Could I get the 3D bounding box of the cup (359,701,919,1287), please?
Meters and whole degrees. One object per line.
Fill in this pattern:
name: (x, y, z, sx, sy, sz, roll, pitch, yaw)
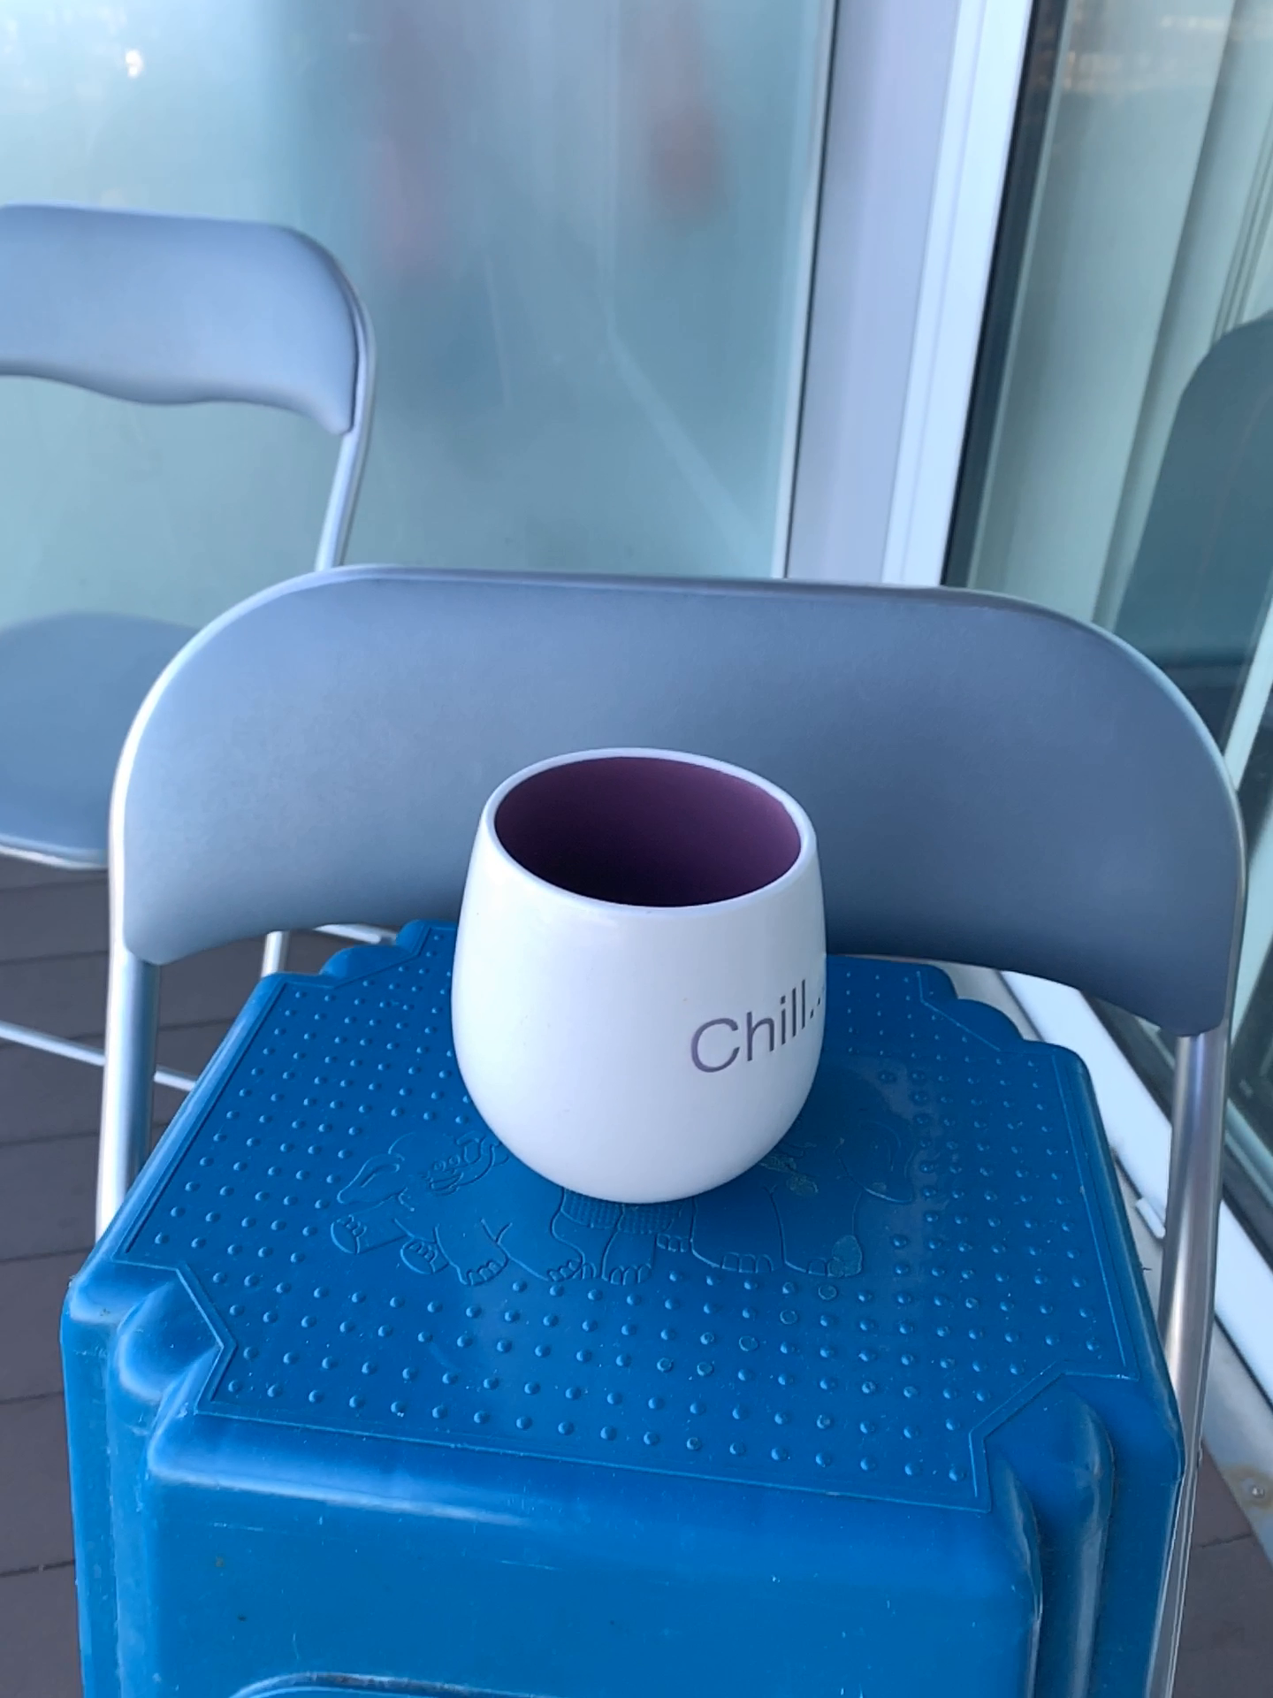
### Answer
cup: (0.001, 0.032, 0.374, 0.105, 0.090, 0.111, 3, 31, -2)
